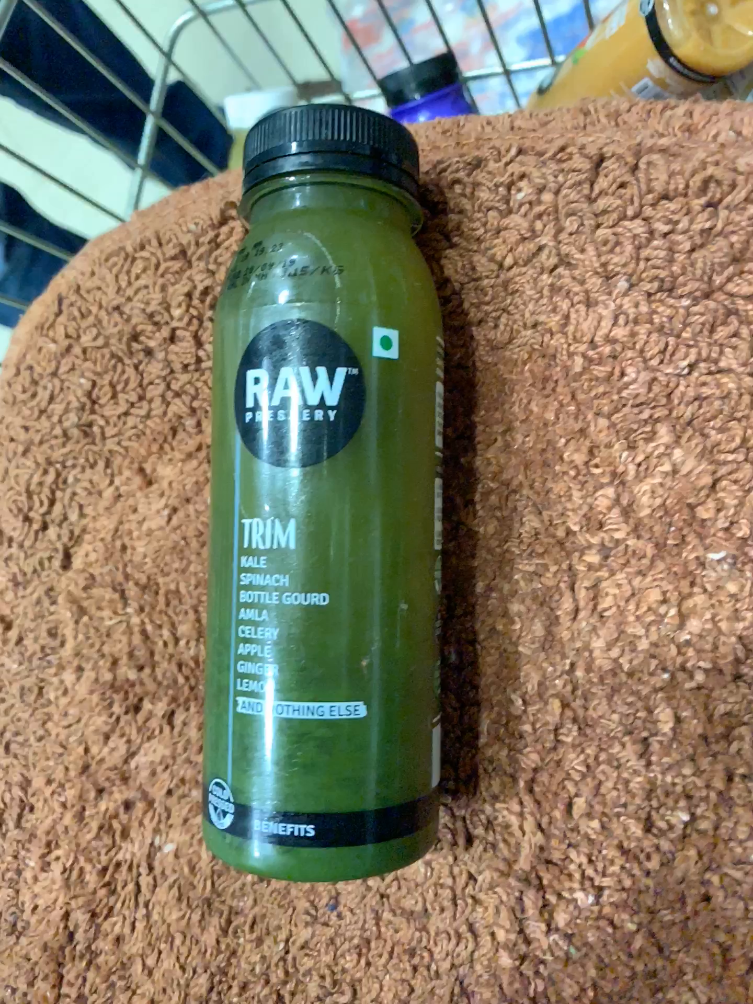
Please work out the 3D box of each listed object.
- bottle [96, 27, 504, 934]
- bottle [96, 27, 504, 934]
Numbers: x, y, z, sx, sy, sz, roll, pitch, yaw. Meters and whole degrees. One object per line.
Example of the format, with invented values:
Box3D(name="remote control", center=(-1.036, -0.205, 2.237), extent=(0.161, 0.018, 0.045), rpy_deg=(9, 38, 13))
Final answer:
Box3D(name="bottle", center=(-0.010, -0.006, 0.161), extent=(0.060, 0.050, 0.150), rpy_deg=(2, 85, 15))
Box3D(name="bottle", center=(-0.010, -0.006, 0.161), extent=(0.060, 0.050, 0.150), rpy_deg=(2, 85, 15))
